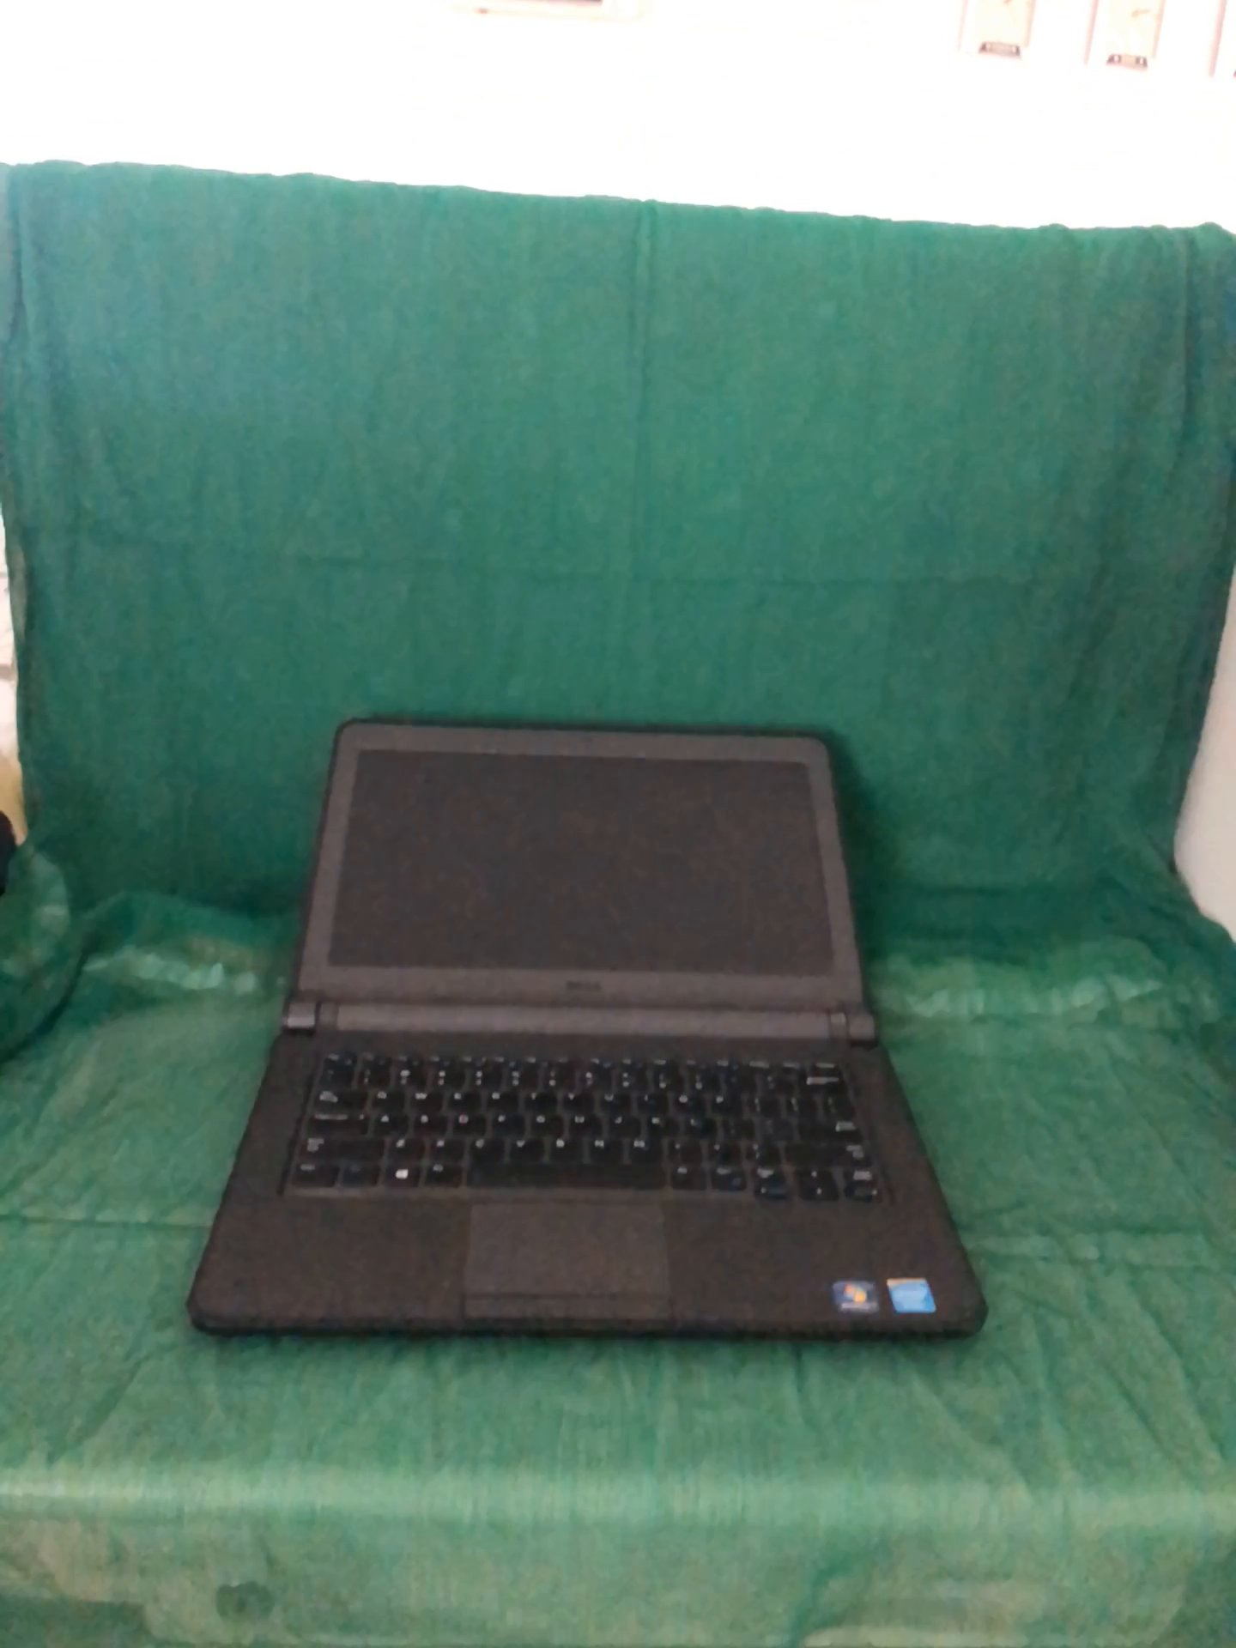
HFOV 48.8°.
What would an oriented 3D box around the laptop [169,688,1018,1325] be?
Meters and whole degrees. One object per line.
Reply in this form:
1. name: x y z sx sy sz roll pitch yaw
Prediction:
1. laptop: -0.015 0.056 0.705 0.311 0.096 0.422 2 26 -3
